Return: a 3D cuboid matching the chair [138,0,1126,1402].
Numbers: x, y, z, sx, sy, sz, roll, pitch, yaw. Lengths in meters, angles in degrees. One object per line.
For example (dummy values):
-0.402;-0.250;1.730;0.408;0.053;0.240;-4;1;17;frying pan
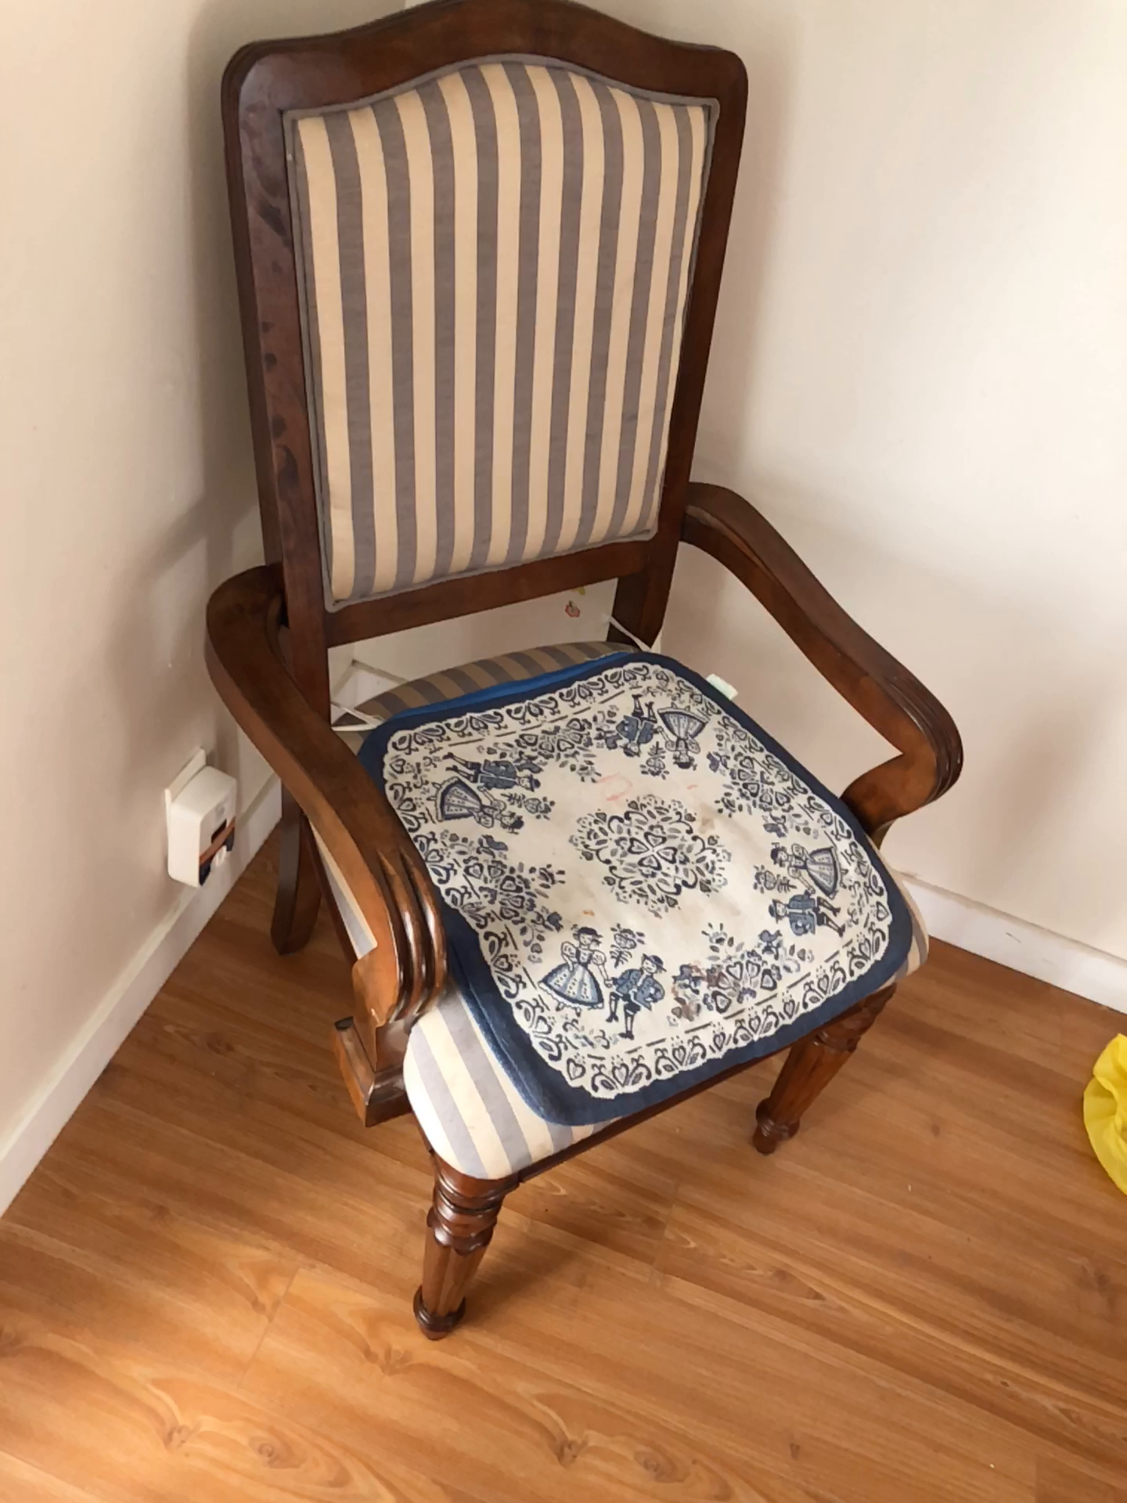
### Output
0.030;0.010;1.096;0.531;1.043;0.582;-21;56;-29;chair
